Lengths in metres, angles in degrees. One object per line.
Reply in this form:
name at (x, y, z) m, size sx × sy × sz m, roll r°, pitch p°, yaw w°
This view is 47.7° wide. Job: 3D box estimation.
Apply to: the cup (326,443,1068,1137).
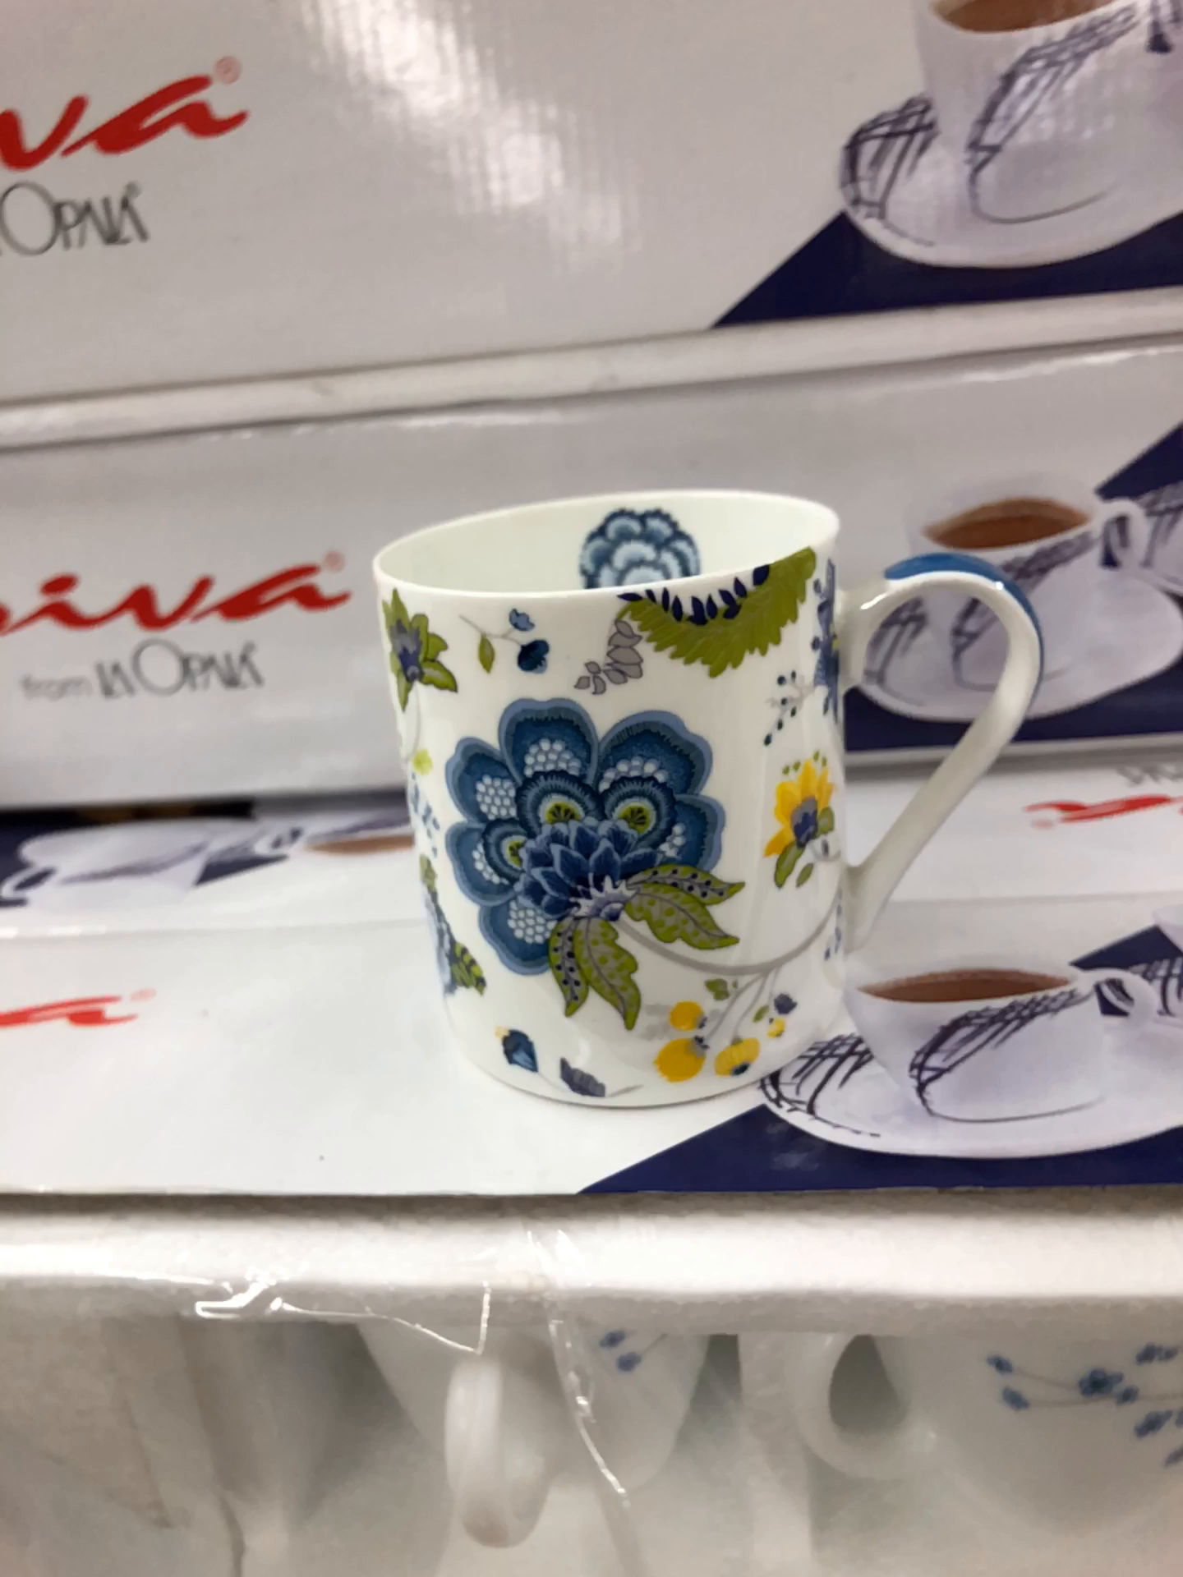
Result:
cup at (0.018, -0.003, 0.229) m, size 0.100 × 0.089 × 0.070 m, roll -5°, pitch 23°, yaw 2°
